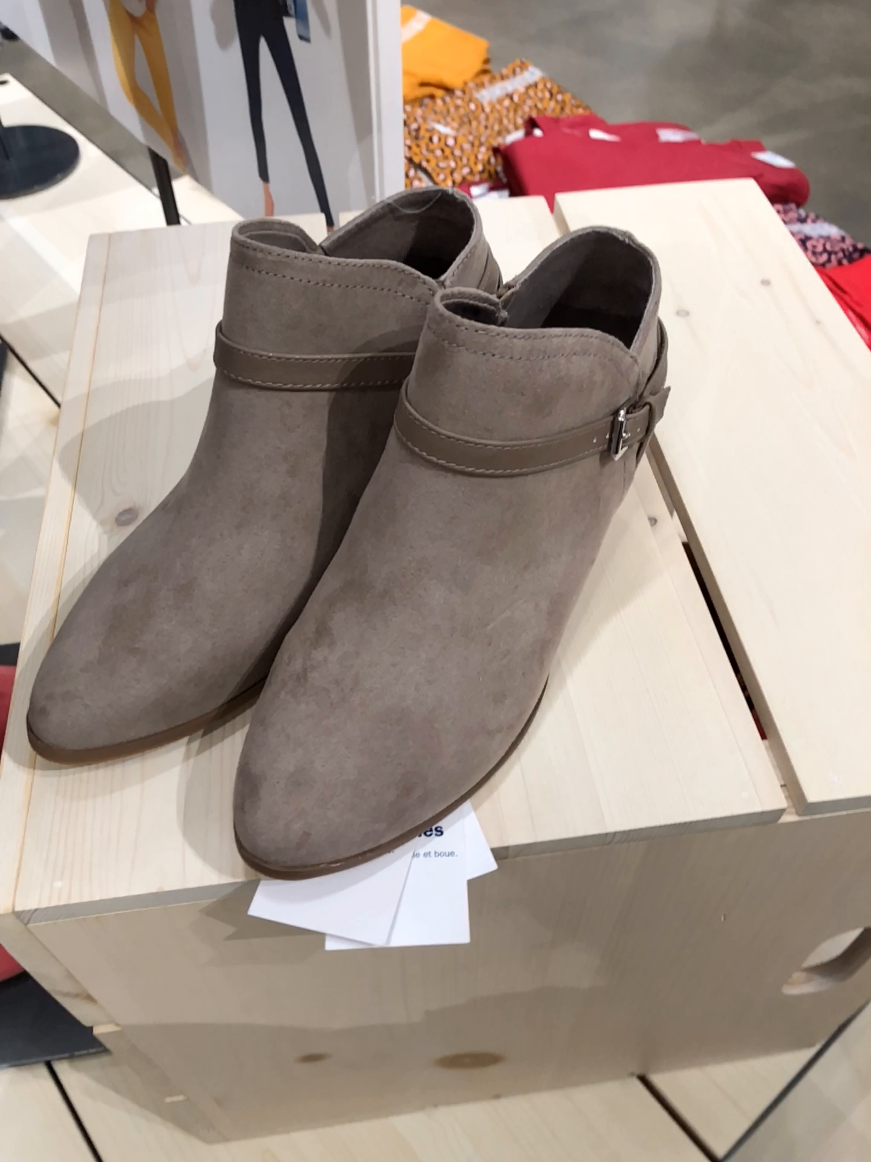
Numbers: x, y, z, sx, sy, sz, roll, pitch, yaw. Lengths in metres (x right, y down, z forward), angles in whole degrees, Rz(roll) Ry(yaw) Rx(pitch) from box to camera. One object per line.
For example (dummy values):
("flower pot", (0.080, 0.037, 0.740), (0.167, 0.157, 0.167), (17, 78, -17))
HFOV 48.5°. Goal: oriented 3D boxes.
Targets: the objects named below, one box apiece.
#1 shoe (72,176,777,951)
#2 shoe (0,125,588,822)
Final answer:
("shoe", (0.015, -0.022, 0.335), (0.090, 0.110, 0.250), (27, 56, 20))
("shoe", (-0.055, -0.053, 0.357), (0.090, 0.110, 0.250), (31, 57, 23))
